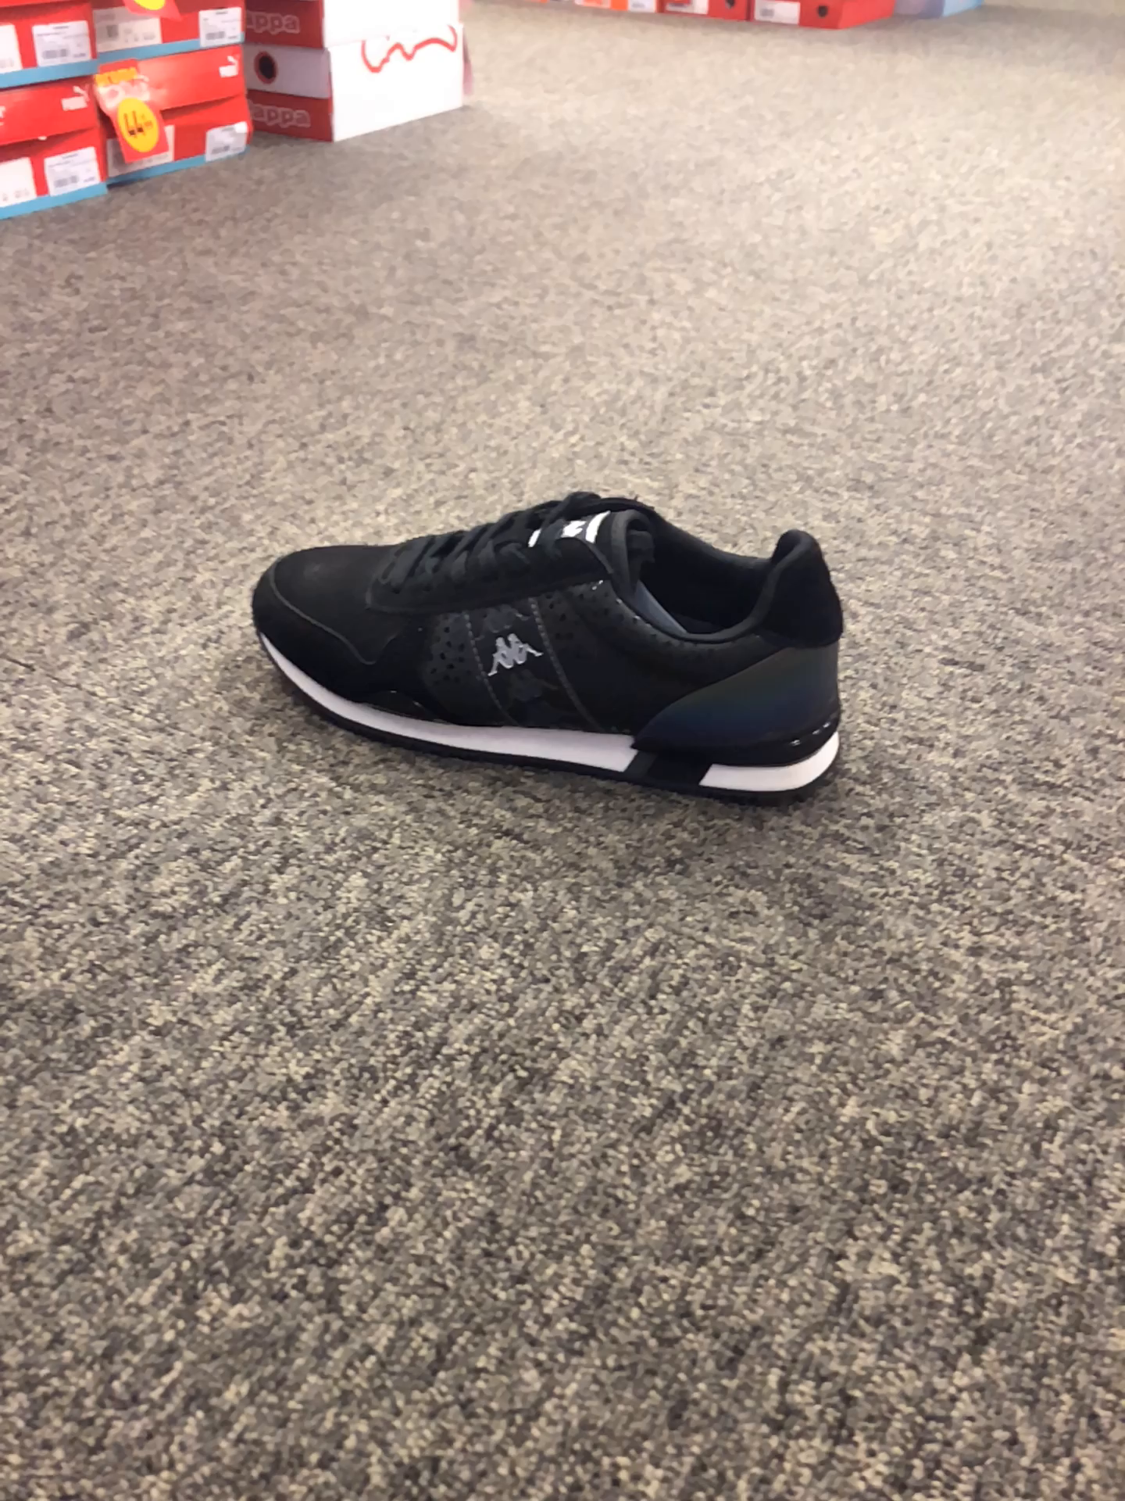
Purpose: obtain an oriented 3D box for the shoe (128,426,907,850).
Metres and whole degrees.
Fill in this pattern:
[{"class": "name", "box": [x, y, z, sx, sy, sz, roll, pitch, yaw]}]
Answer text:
[{"class": "shoe", "box": [-0.017, -0.054, 0.488, 0.274, 0.089, 0.101, 11, 37, 19]}]
